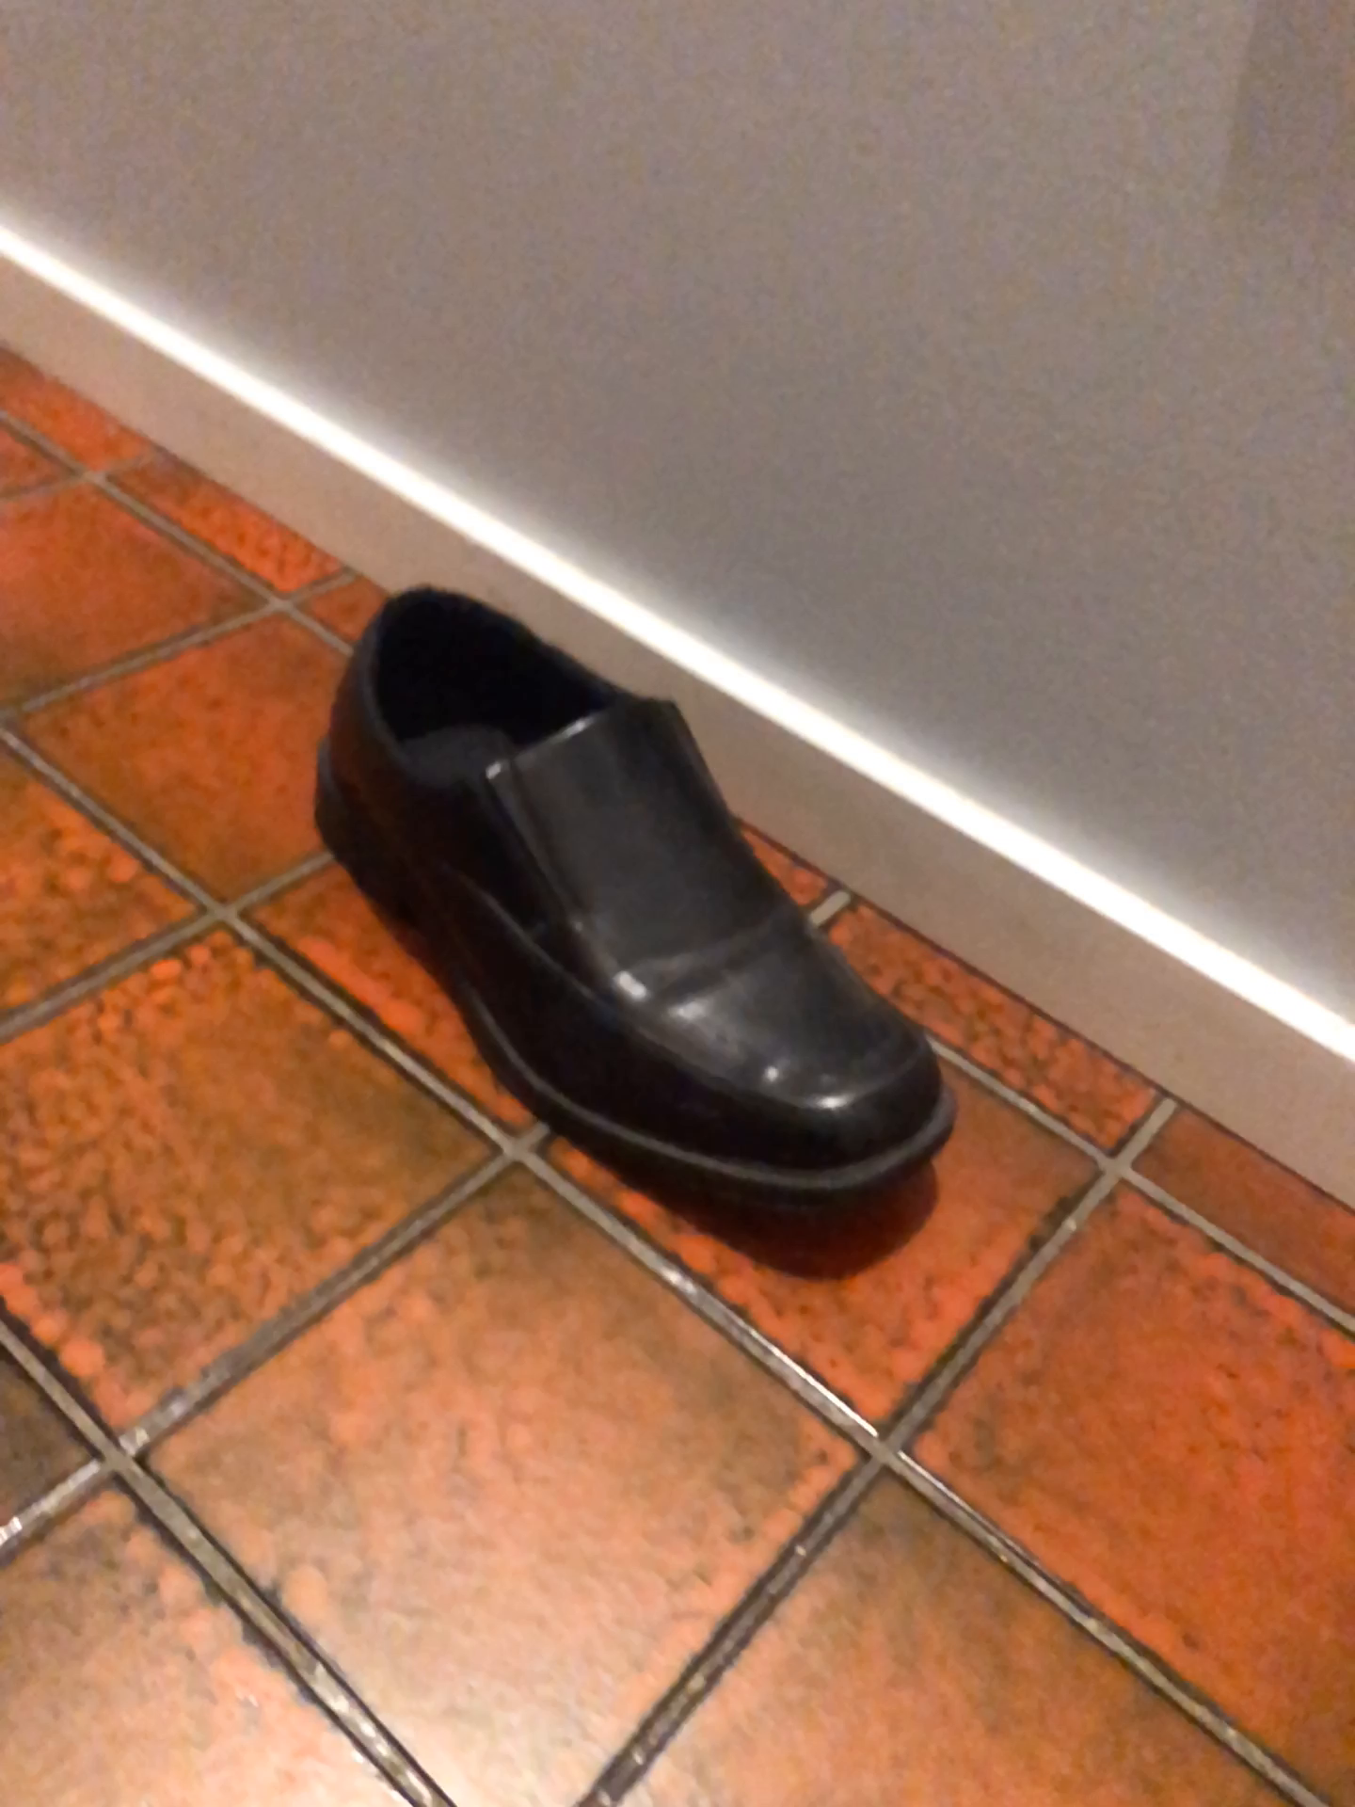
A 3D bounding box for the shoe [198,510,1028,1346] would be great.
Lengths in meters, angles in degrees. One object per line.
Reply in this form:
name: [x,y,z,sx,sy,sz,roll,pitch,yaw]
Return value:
shoe: [-0.041,-0.013,0.531,0.120,0.100,0.301,-23,52,-33]
